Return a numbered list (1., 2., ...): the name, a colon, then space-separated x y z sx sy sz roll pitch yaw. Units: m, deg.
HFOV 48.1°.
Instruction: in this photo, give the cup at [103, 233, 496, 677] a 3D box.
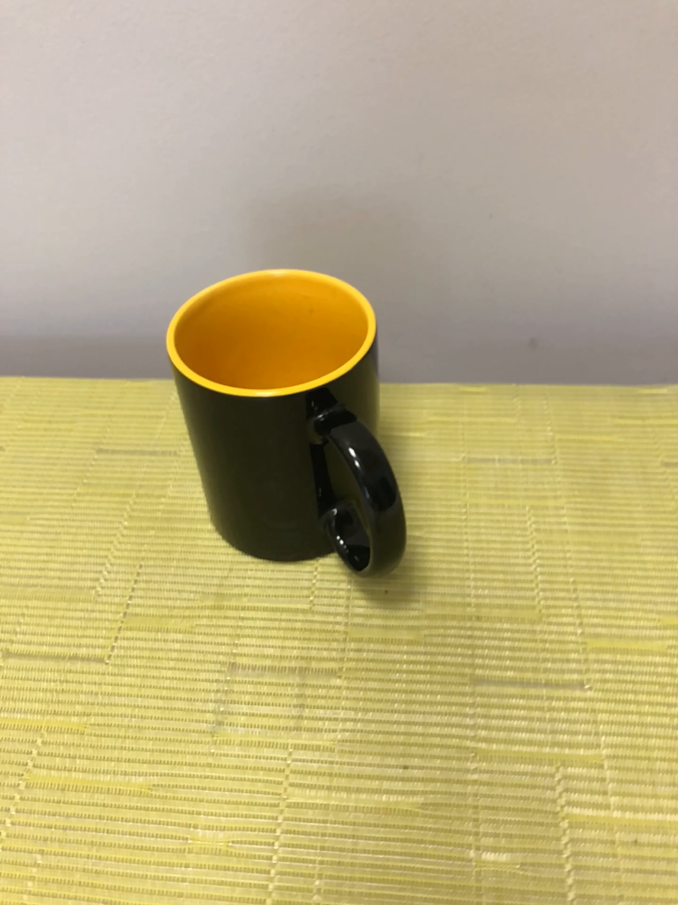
1. cup: -0.016 -0.004 0.305 0.088 0.104 0.119 -29 49 -23
